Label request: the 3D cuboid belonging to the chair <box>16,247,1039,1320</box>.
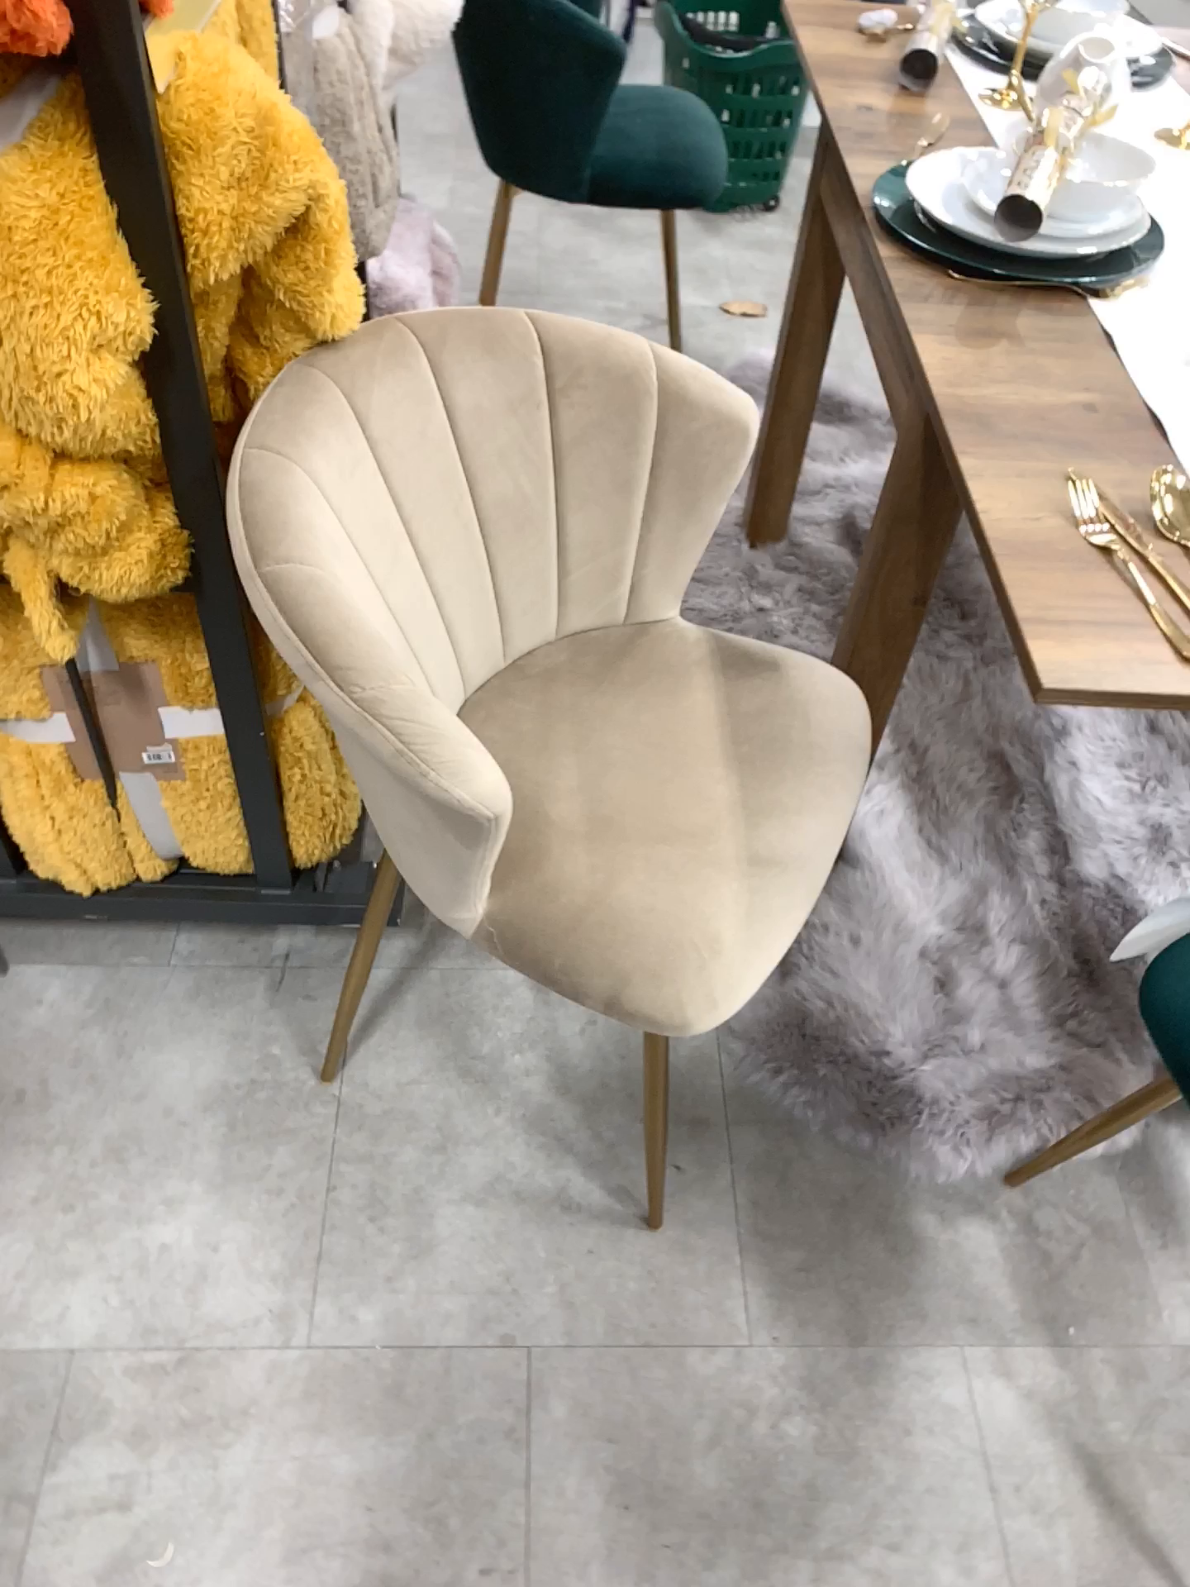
[{"bbox_3d":[-0.027,-0.010,1.155,0.573,0.666,0.566,21,49,14],"label":"chair"}]
